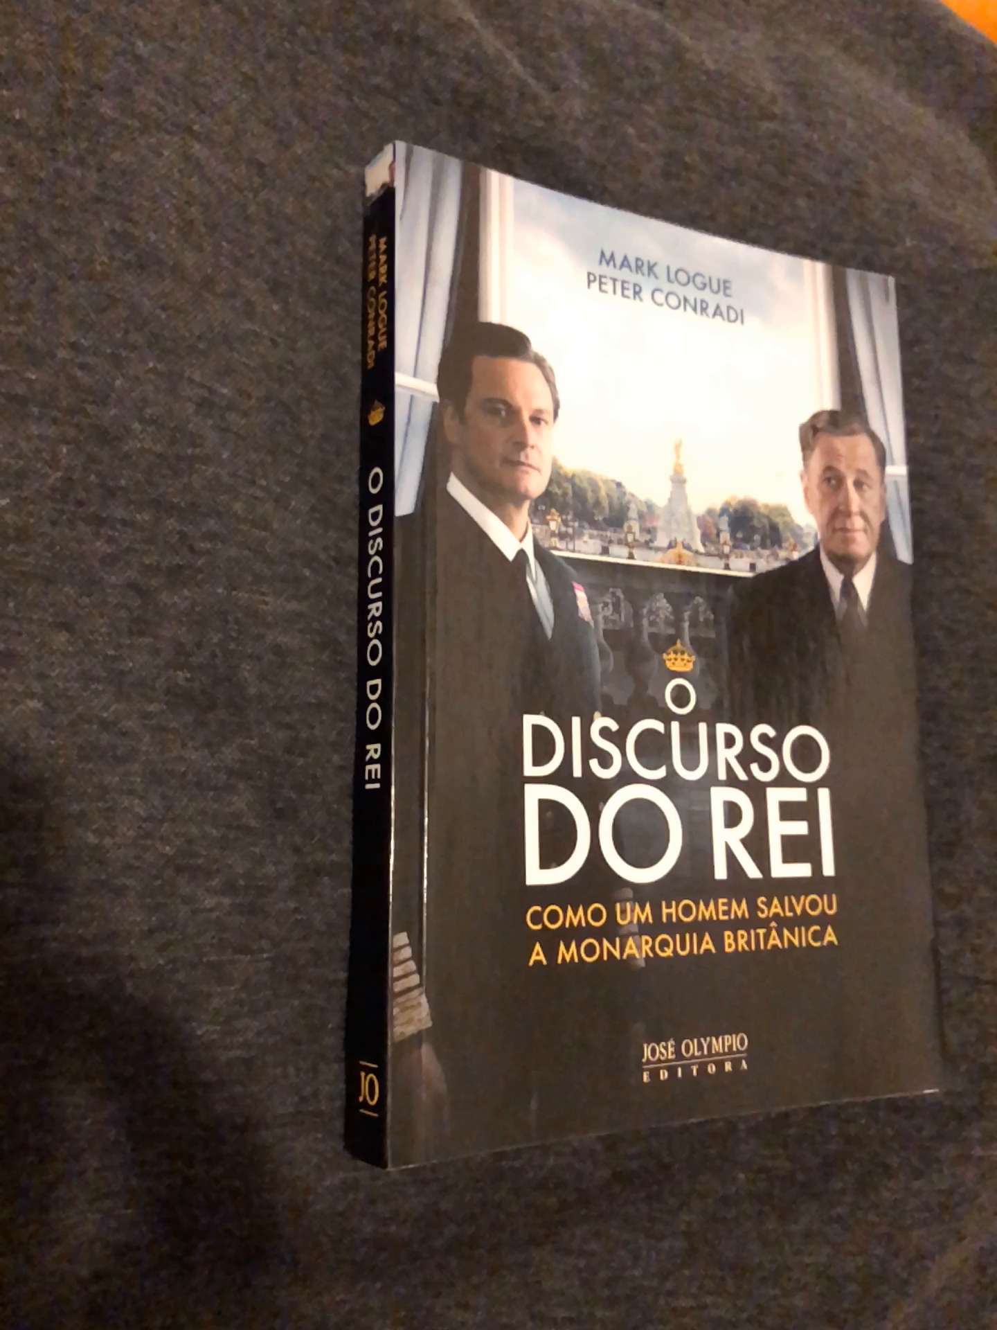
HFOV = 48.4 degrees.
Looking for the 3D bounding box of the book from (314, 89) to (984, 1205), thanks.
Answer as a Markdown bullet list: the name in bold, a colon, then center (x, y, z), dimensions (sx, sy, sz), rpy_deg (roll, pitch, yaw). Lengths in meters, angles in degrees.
- **book**: center (0.039, -0.007, 0.272), dimensions (0.160, 0.030, 0.230), rpy_deg (4, 78, -25)
